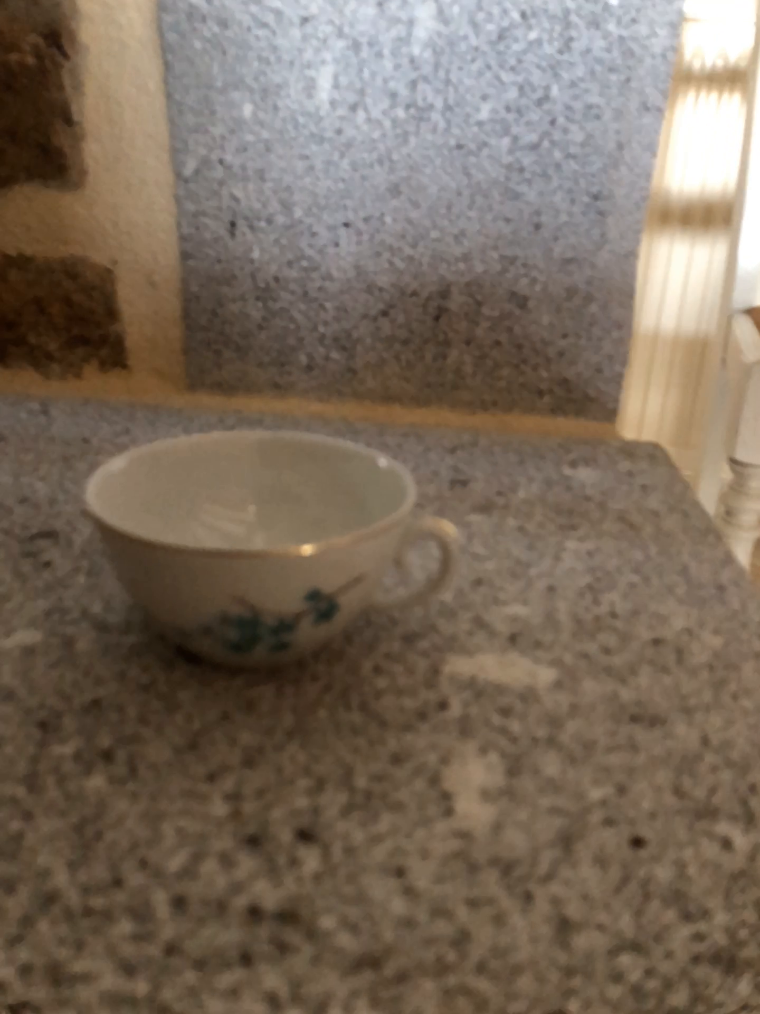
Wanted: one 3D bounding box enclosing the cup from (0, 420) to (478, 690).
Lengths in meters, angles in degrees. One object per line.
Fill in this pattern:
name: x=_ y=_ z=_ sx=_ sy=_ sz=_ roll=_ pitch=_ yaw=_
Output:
cup: x=-0.036 y=0.009 z=0.233 sx=0.110 sy=0.040 sz=0.090 roll=1 pitch=22 yaw=-4
